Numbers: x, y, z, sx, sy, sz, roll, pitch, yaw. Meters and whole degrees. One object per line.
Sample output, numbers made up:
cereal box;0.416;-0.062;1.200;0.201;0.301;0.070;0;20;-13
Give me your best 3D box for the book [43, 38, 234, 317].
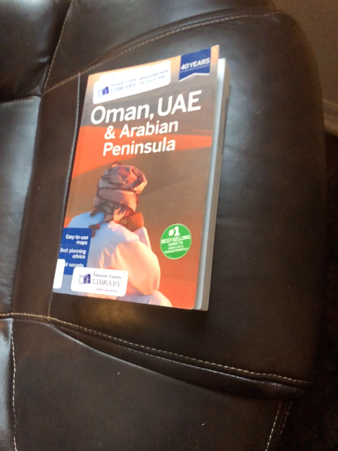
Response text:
book;-0.025;-0.038;0.309;0.138;0.030;0.203;1;79;26
